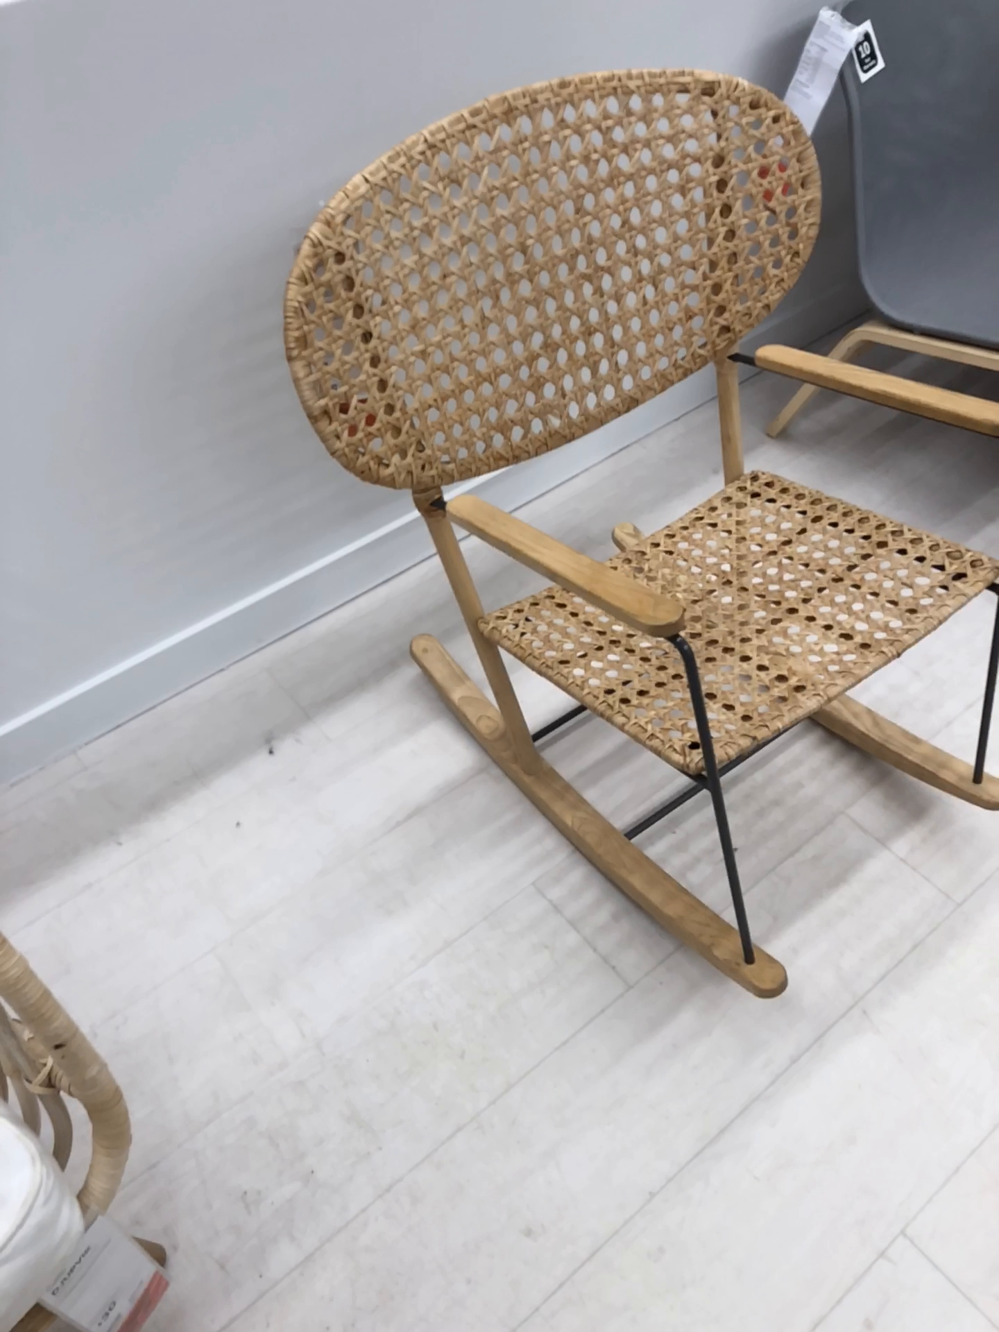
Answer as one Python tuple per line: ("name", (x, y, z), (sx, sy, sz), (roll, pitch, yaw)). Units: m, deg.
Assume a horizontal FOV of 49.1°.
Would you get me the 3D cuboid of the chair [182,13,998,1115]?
("chair", (0.258, -0.179, 1.376), (0.831, 0.787, 0.852), (-29, 54, -22))
